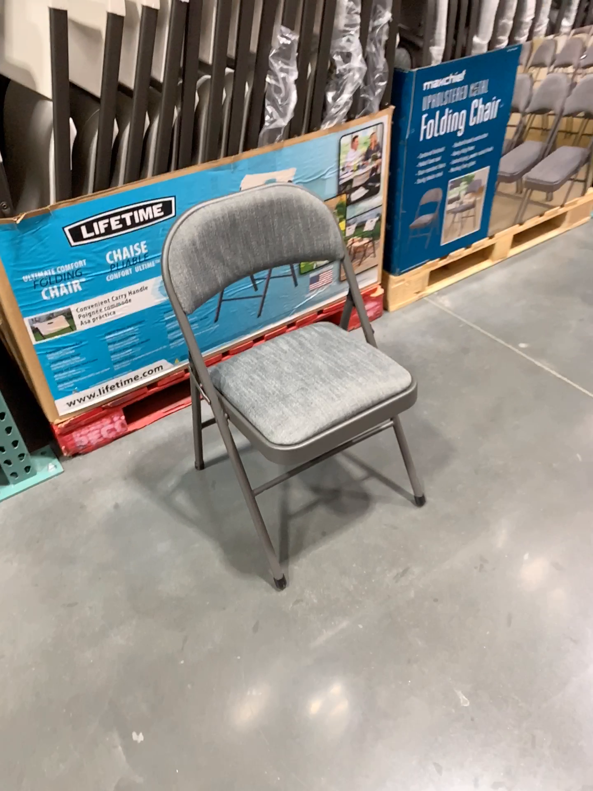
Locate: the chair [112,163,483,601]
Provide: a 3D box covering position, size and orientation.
[{"bbox_3d":[-0.008,-0.043,1.354,0.495,0.687,0.504,-25,46,-24],"label":"chair"}]
